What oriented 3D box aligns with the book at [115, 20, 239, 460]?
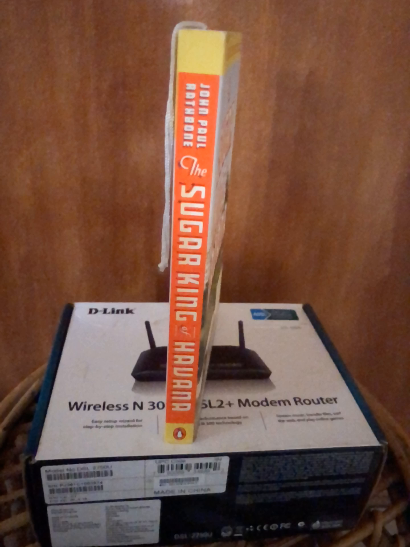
[{"bbox_3d":[-0.008,-0.027,0.268,0.030,0.209,0.151,5,30,6],"label":"book"}]
